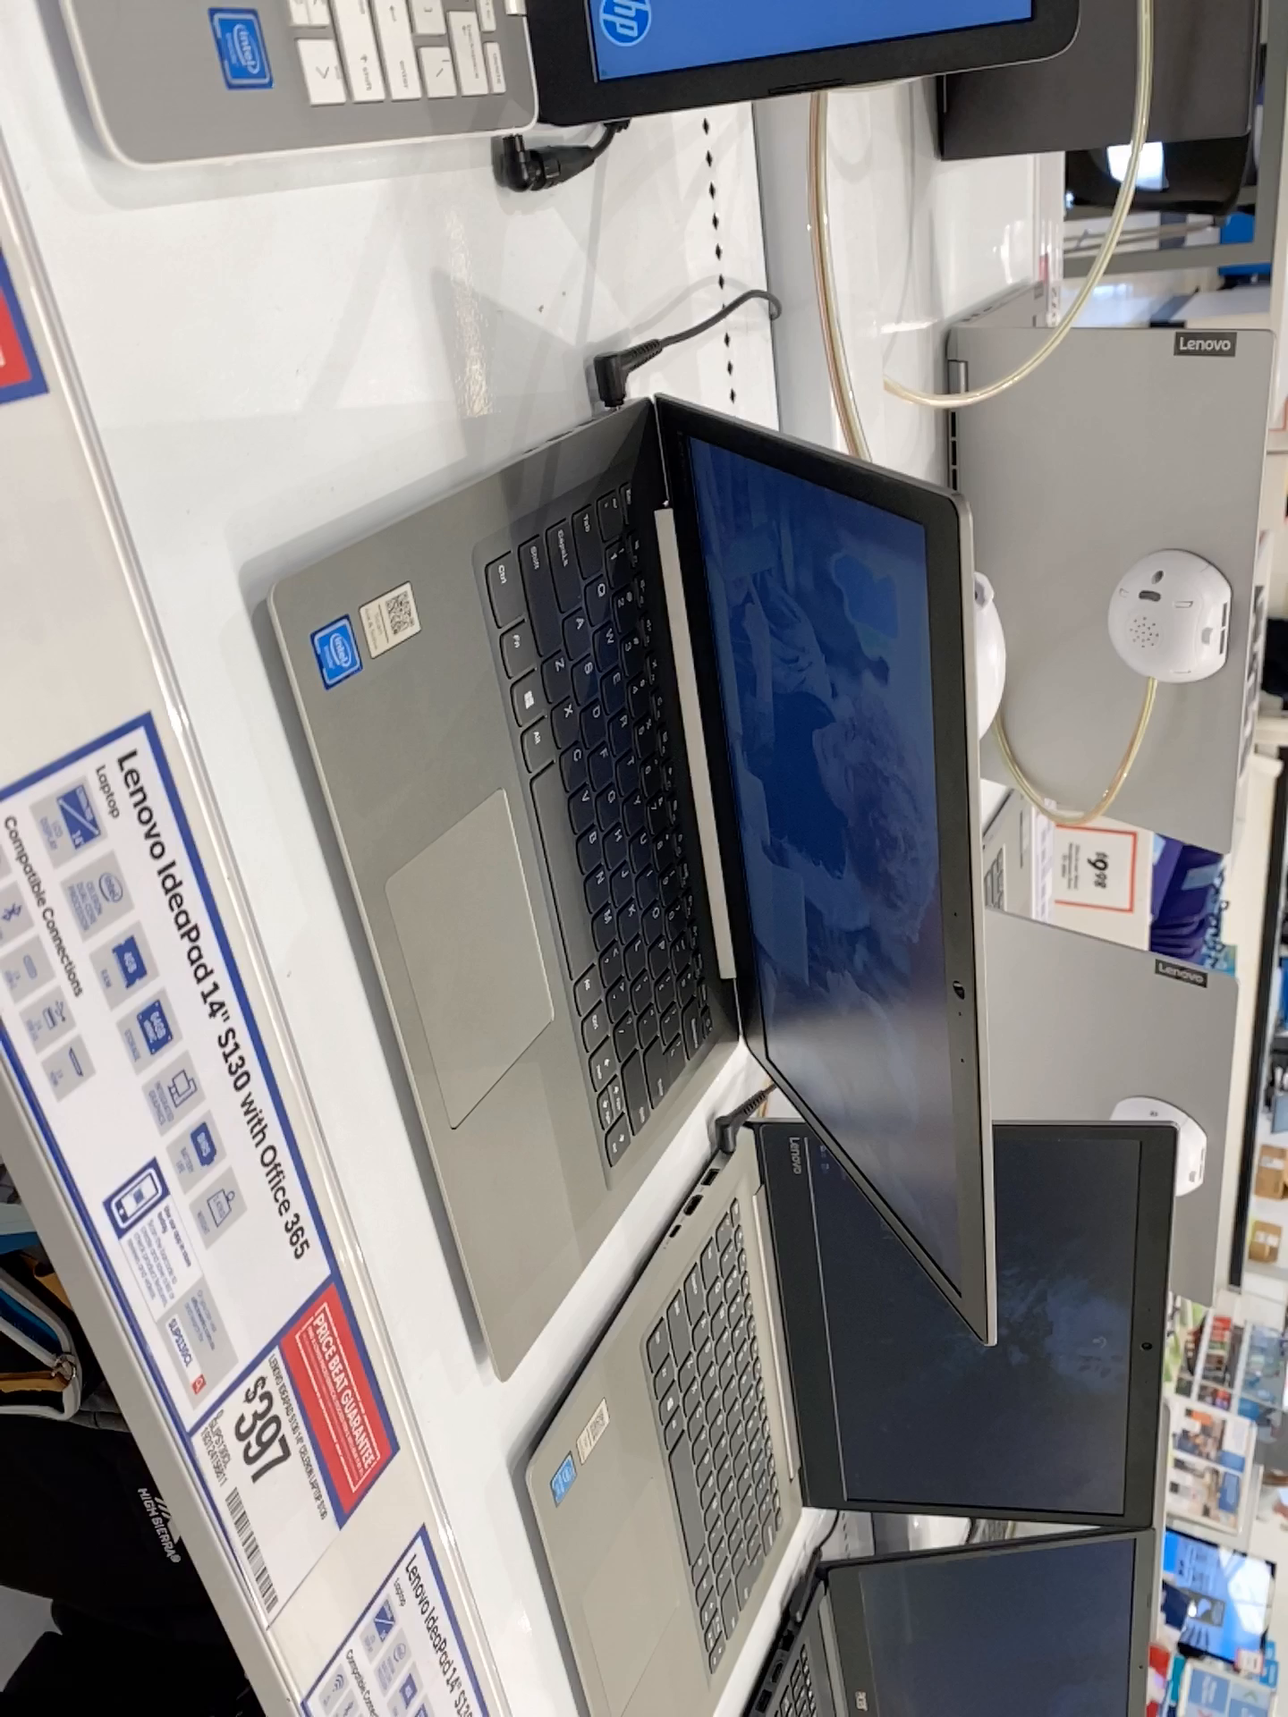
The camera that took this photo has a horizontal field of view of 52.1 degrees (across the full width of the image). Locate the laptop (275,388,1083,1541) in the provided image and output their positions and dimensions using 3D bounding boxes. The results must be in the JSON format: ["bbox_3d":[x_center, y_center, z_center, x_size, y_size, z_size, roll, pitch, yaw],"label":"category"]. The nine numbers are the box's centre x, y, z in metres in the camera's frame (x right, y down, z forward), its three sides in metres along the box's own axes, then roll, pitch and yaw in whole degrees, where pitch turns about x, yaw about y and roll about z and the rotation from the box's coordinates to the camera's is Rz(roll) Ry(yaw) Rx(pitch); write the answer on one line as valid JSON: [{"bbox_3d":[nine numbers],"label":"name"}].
[{"bbox_3d":[0.048,0.024,0.493,0.231,0.170,0.330,-46,136,-48],"label":"laptop"}]

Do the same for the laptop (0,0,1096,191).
[{"bbox_3d":[-0.009,-0.355,0.312,0.285,0.155,0.305,-44,132,-48],"label":"laptop"}]

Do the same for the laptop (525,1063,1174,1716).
[{"bbox_3d":[0.138,0.344,0.701,0.310,0.215,0.330,-46,135,-50],"label":"laptop"}]
